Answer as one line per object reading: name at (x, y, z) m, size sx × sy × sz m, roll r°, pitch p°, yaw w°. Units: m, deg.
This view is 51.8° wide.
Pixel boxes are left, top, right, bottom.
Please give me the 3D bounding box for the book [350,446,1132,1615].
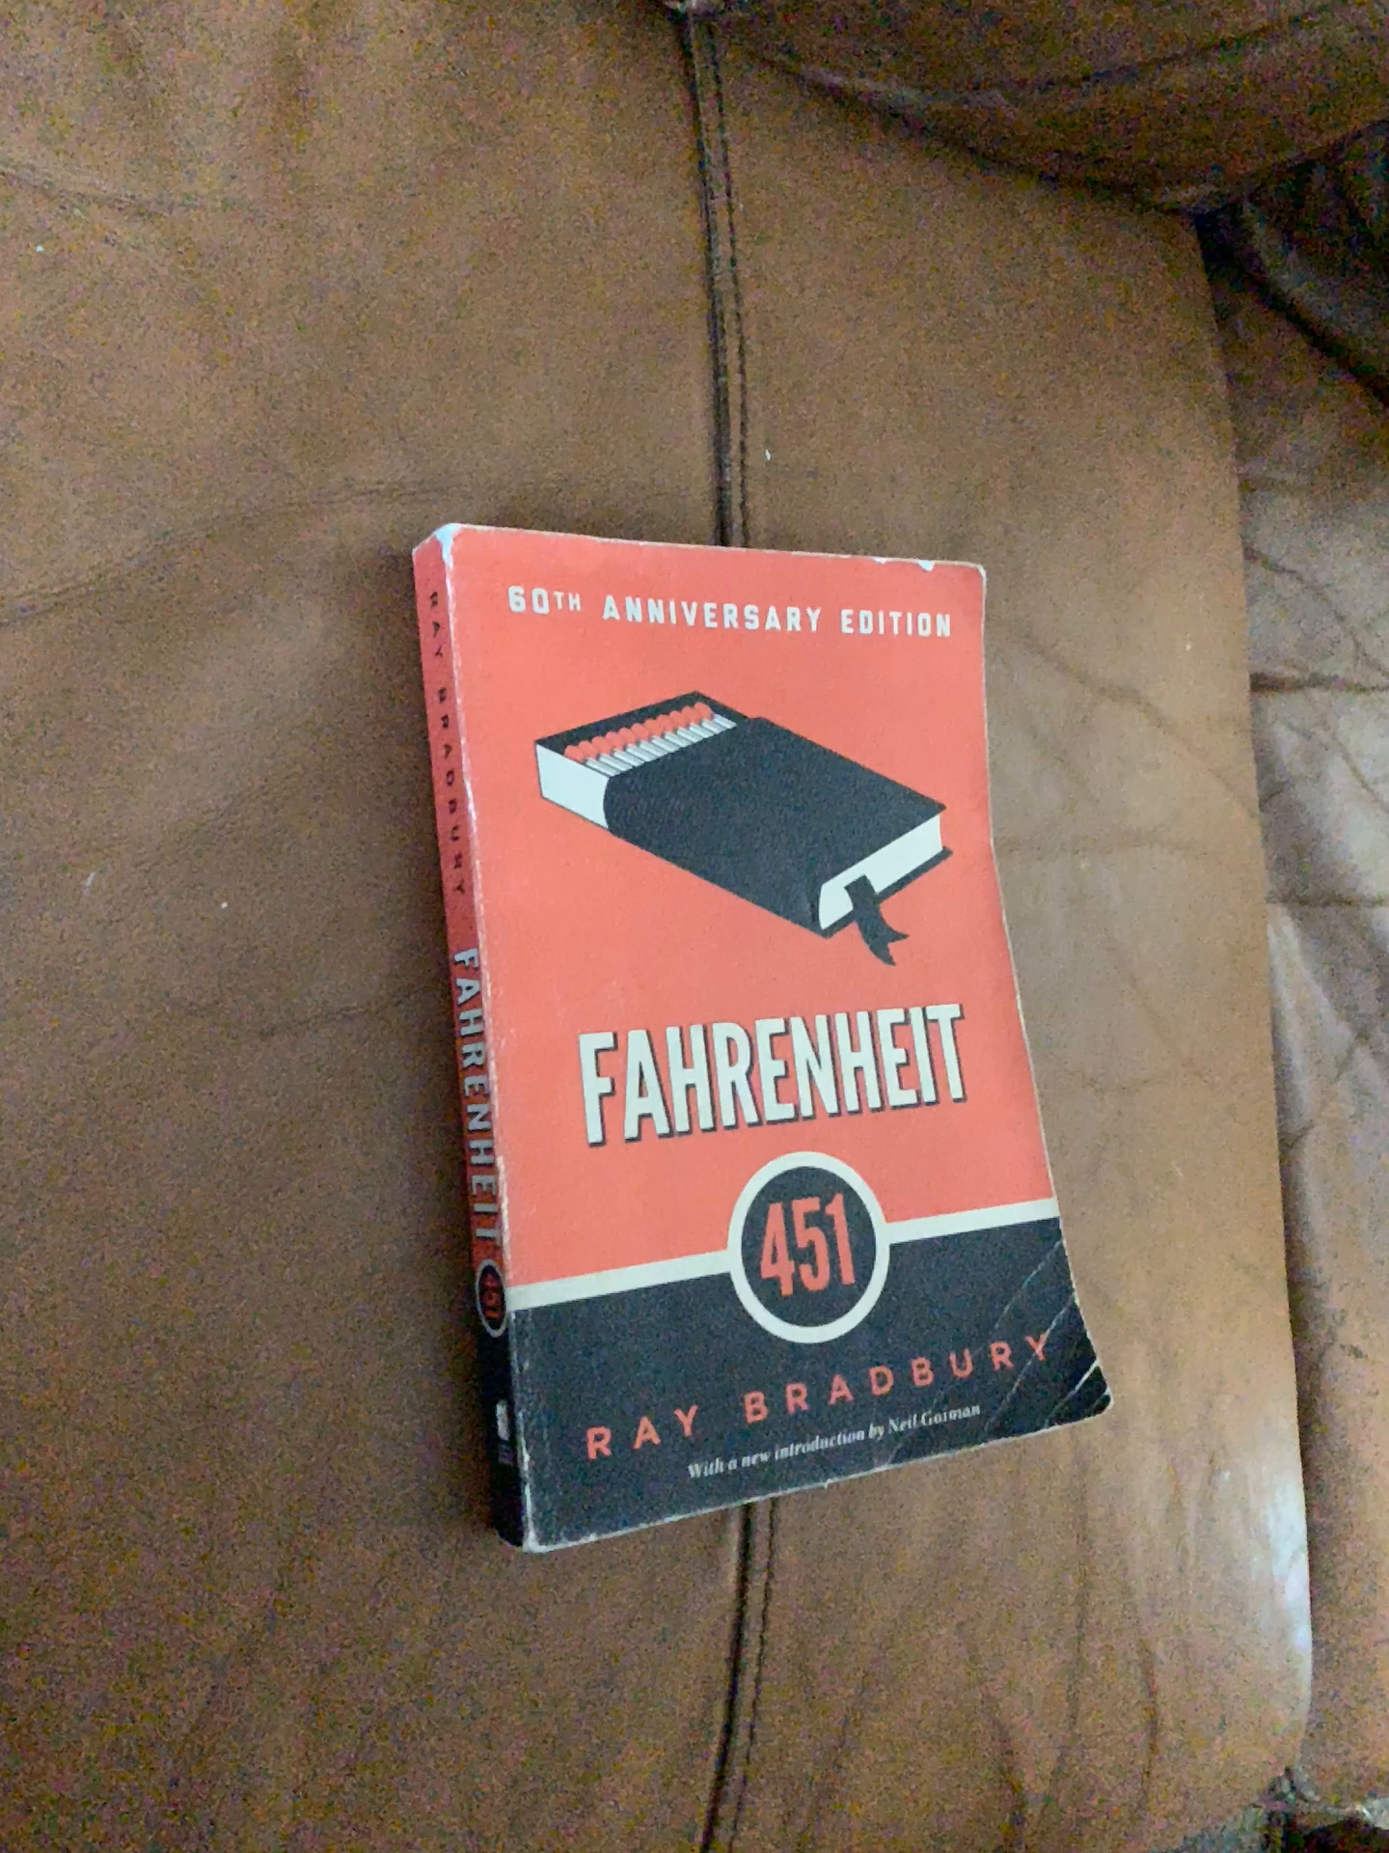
book at (0.013, 0.014, 0.324) m, size 0.150 × 0.040 × 0.220 m, roll -3°, pitch 81°, yaw -32°
